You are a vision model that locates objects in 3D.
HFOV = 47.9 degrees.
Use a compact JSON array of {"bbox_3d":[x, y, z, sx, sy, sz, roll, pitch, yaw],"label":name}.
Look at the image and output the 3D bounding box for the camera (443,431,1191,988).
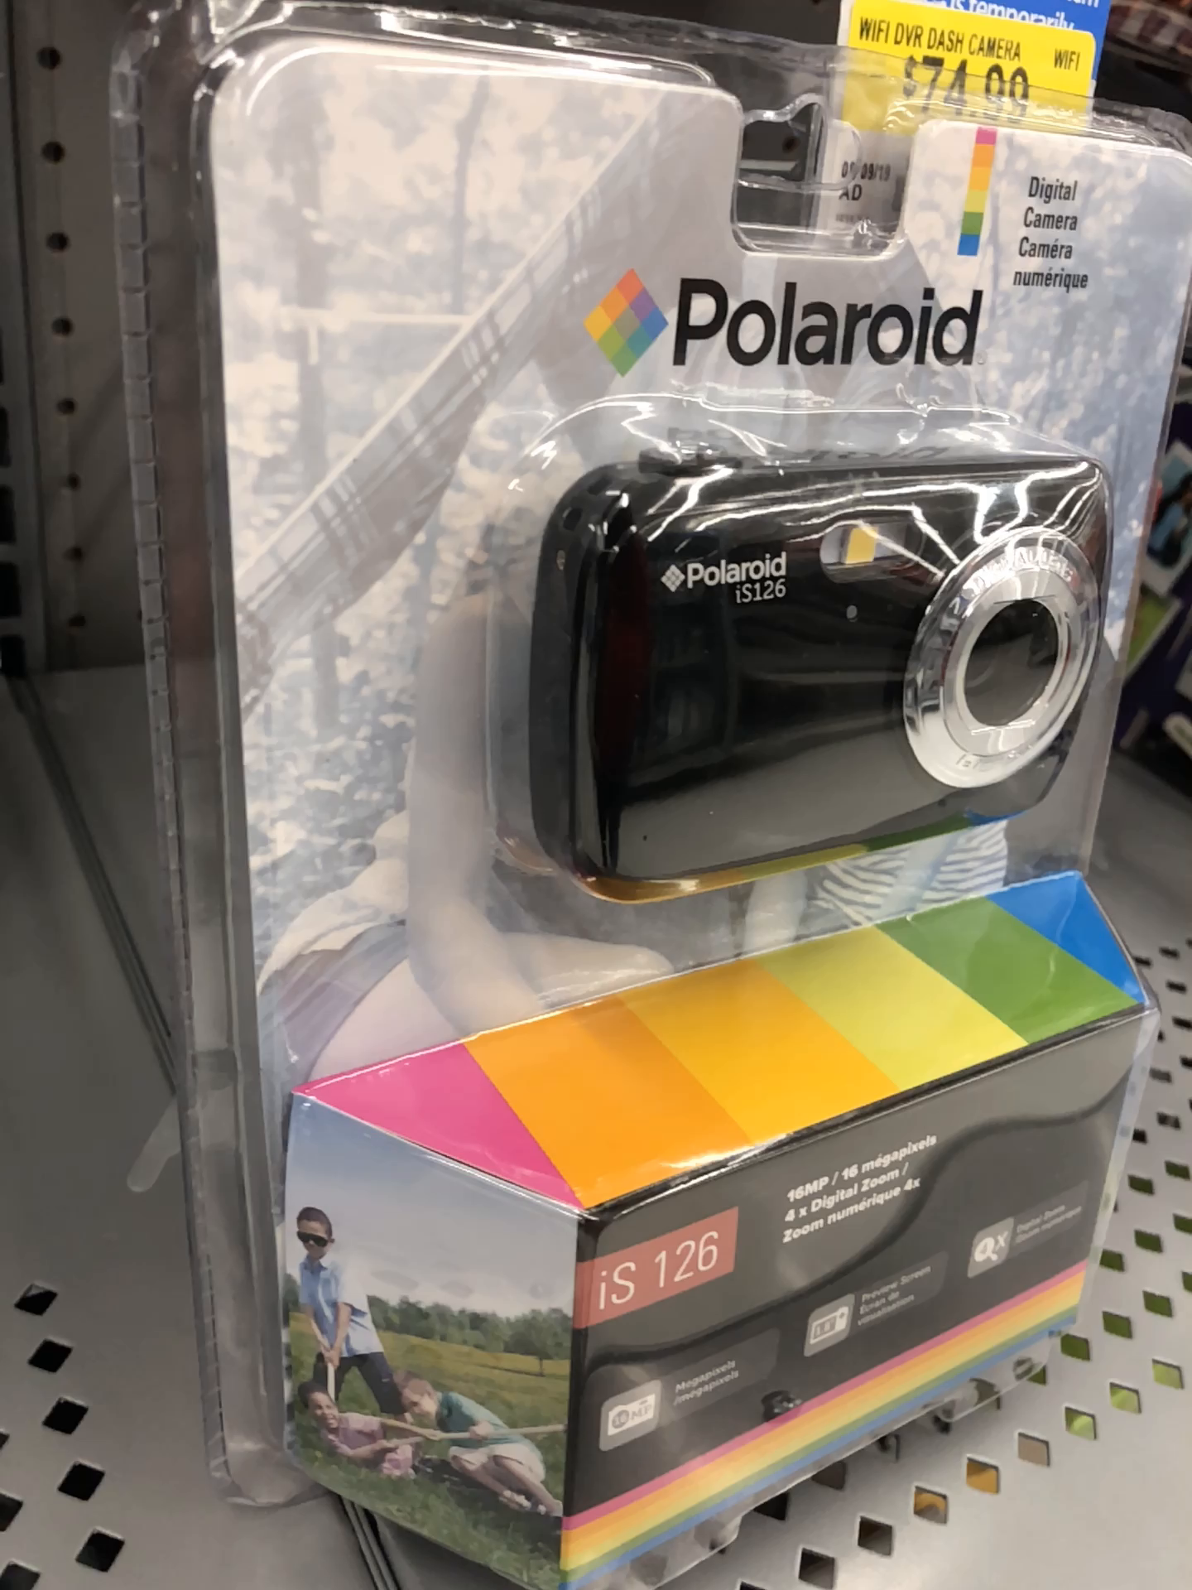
[{"bbox_3d":[0.032,-0.017,0.193,0.100,0.060,0.030,-11,36,-31],"label":"camera"}]
